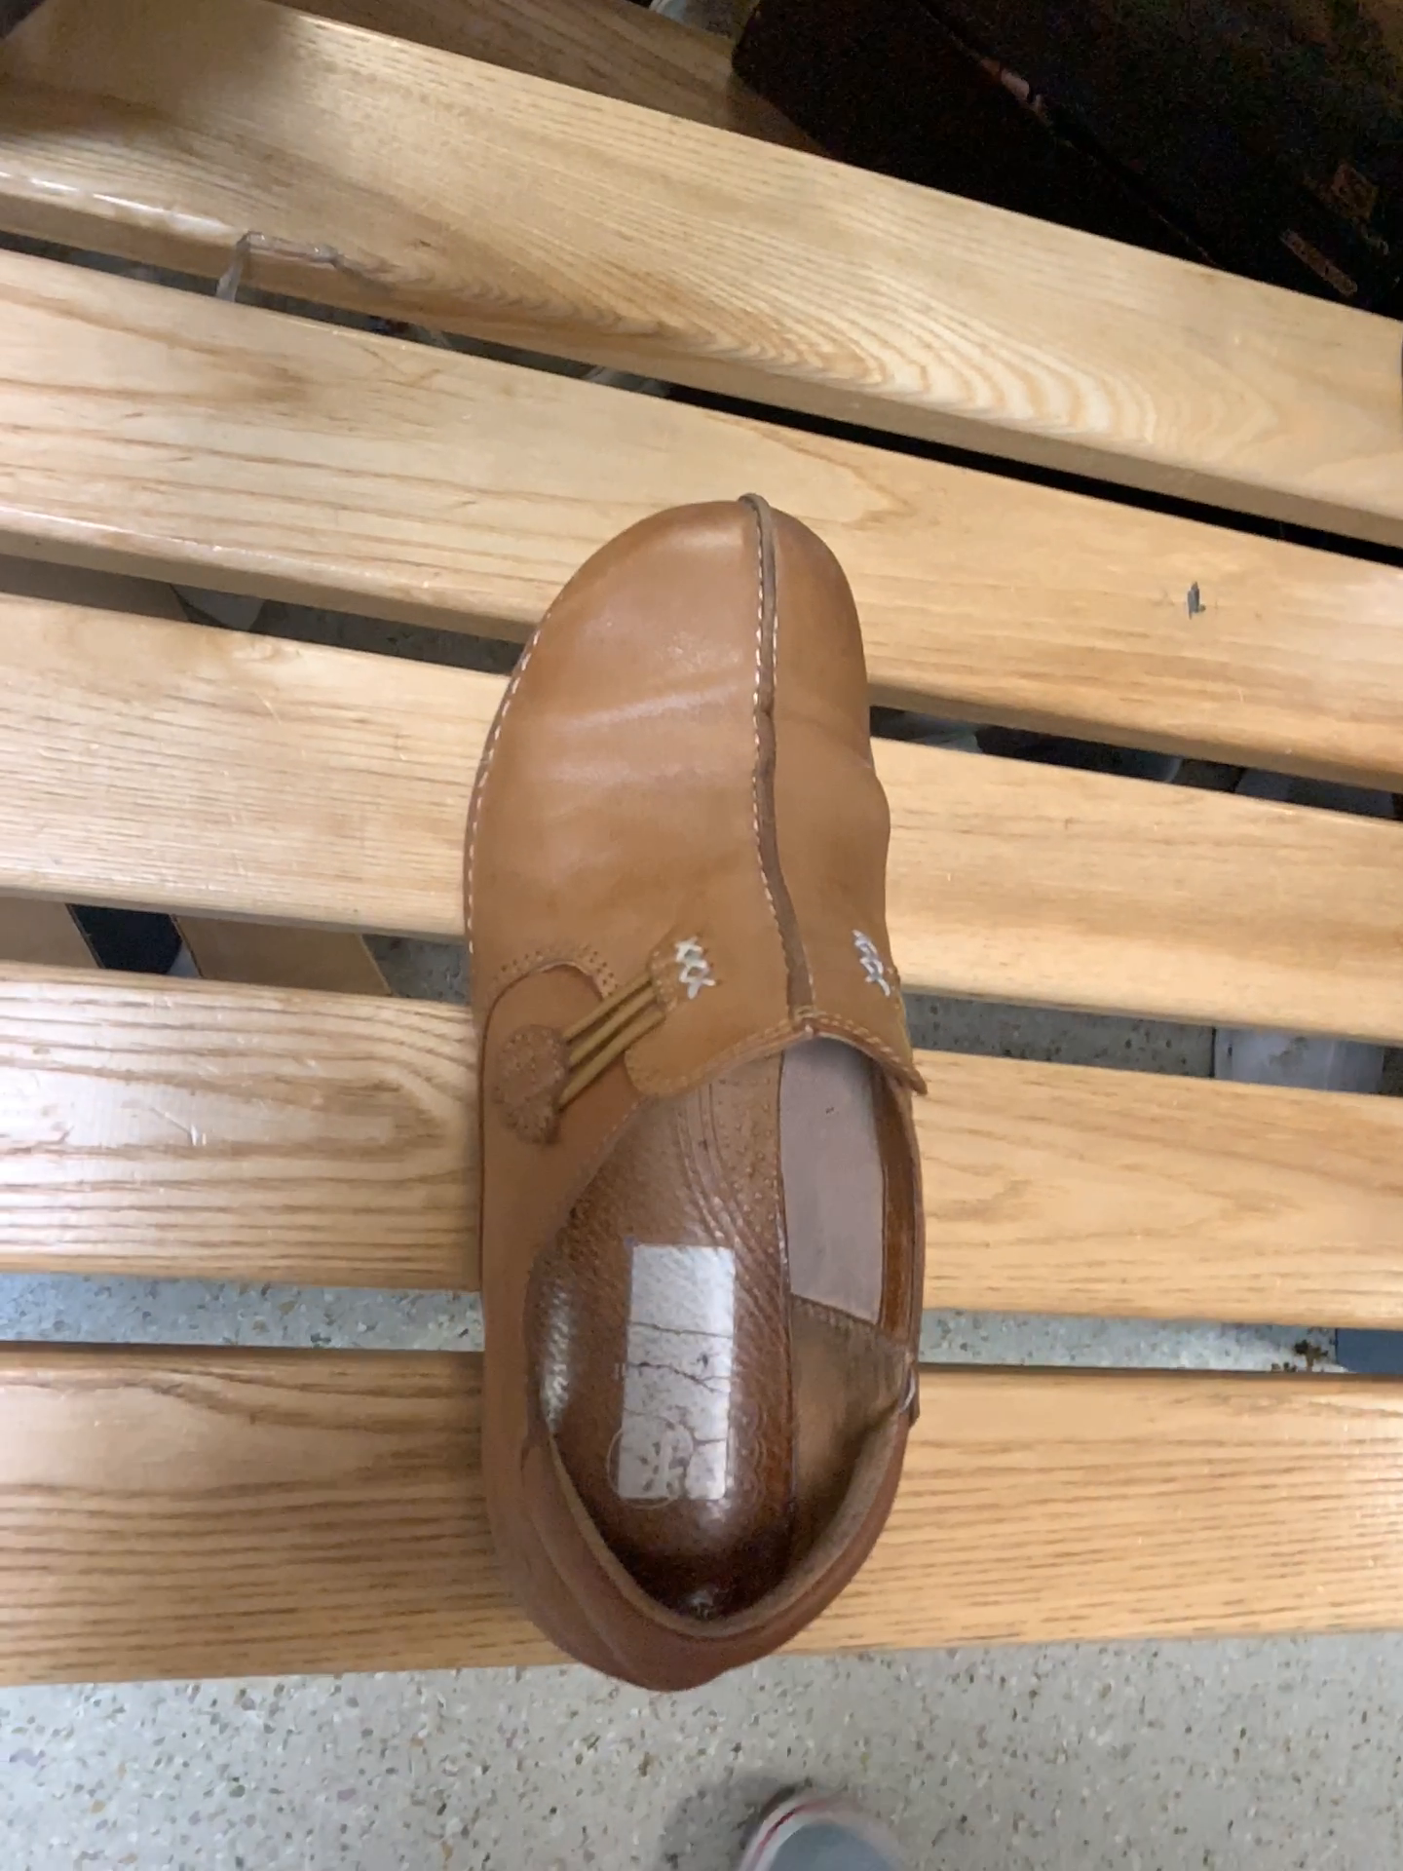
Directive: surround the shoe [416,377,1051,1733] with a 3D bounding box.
[{"bbox_3d":[0.005,0.022,0.316,0.112,0.085,0.245,4,82,-17],"label":"shoe"}]
